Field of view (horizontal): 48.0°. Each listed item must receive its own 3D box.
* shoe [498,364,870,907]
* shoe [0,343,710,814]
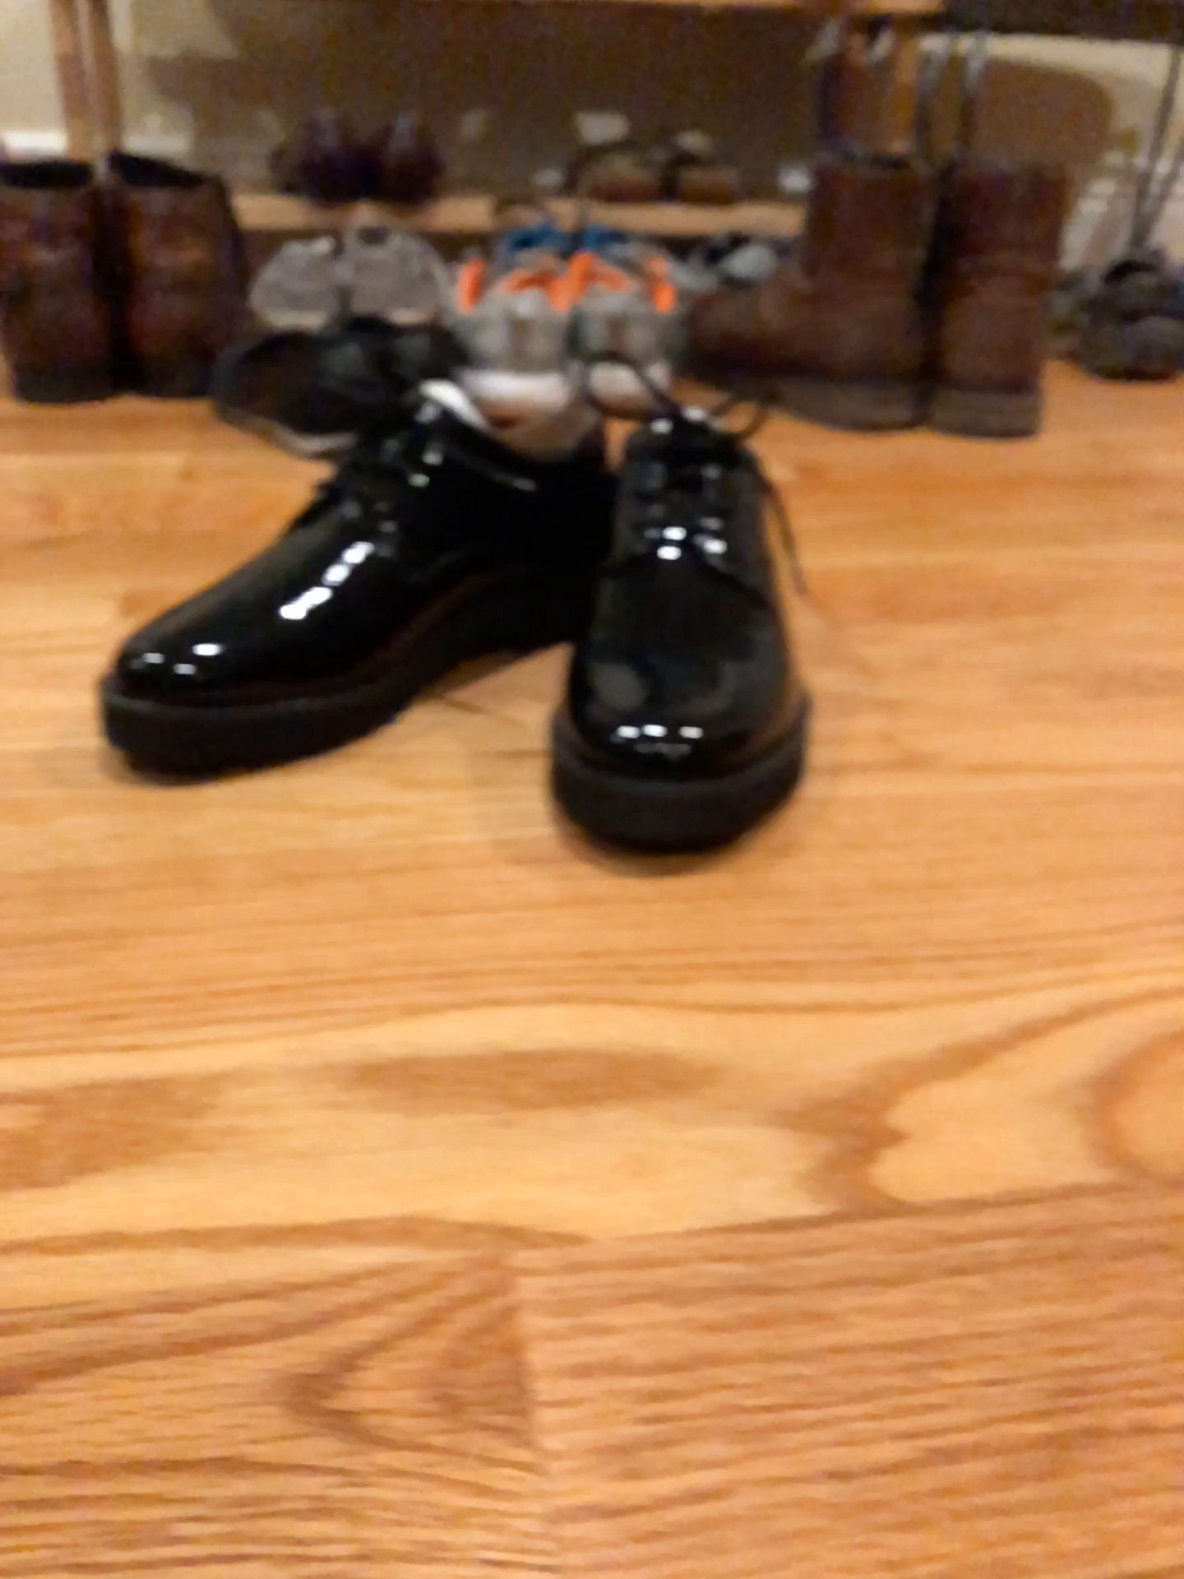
[{"bbox_3d":[0.044,-0.074,0.476,0.095,0.101,0.252,7,28,9],"label":"shoe"},{"bbox_3d":[-0.074,-0.095,0.500,0.095,0.101,0.252,24,35,36],"label":"shoe"}]
